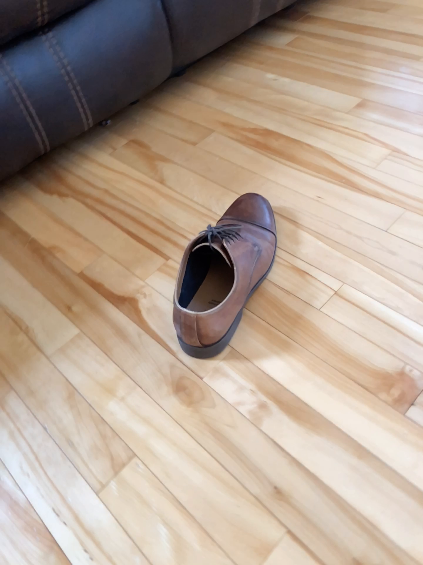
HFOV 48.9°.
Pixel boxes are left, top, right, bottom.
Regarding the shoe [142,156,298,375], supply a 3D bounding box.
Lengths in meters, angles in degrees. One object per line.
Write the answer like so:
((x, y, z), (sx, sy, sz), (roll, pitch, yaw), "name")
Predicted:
((0.029, -0.040, 0.660), (0.100, 0.100, 0.311), (12, 54, 21), "shoe")
